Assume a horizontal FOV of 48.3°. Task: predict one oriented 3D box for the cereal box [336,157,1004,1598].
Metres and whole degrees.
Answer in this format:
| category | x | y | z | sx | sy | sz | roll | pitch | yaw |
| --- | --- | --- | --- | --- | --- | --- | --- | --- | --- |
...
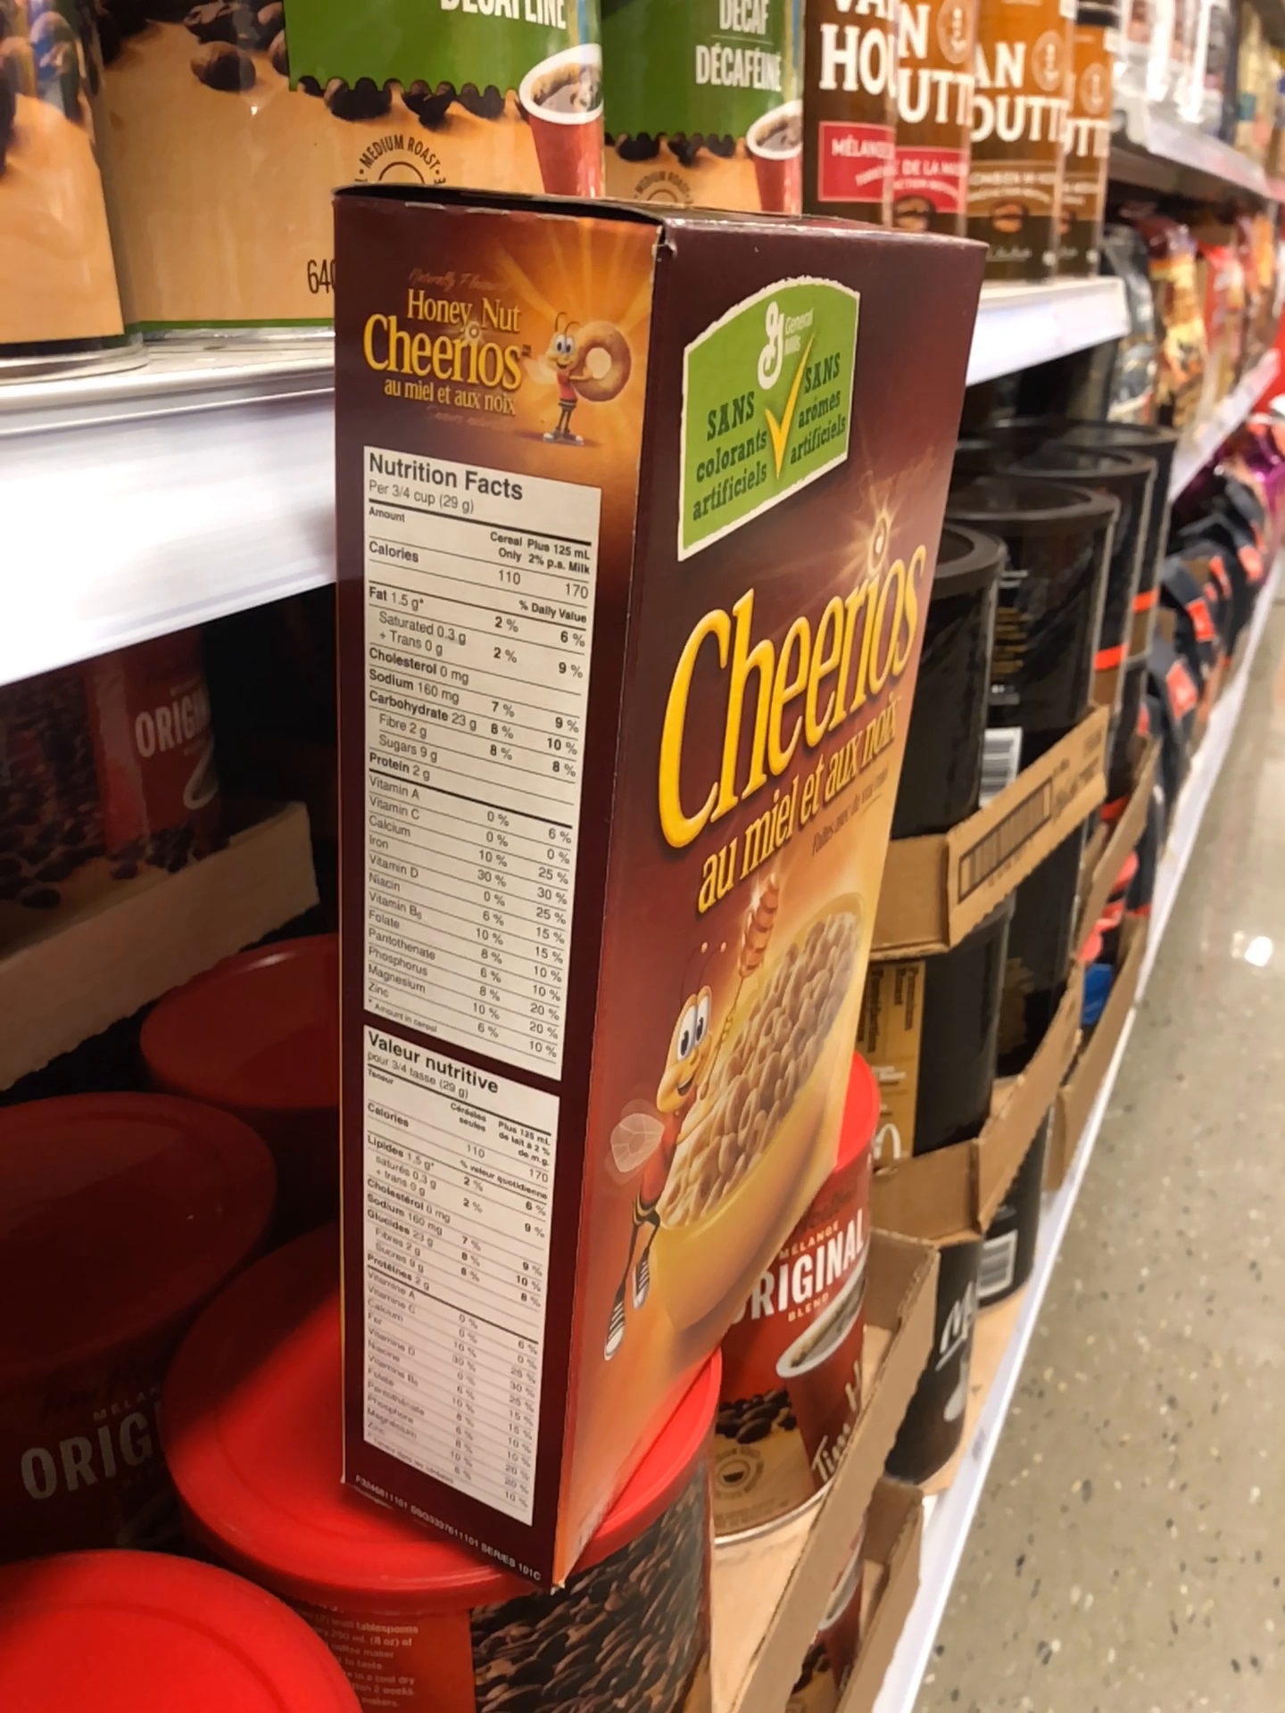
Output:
| category | x | y | z | sx | sy | sz | roll | pitch | yaw |
| --- | --- | --- | --- | --- | --- | --- | --- | --- | --- |
| cereal box | 0.011 | -0.006 | 0.359 | 0.060 | 0.289 | 0.201 | 15 | 26 | 22 |
